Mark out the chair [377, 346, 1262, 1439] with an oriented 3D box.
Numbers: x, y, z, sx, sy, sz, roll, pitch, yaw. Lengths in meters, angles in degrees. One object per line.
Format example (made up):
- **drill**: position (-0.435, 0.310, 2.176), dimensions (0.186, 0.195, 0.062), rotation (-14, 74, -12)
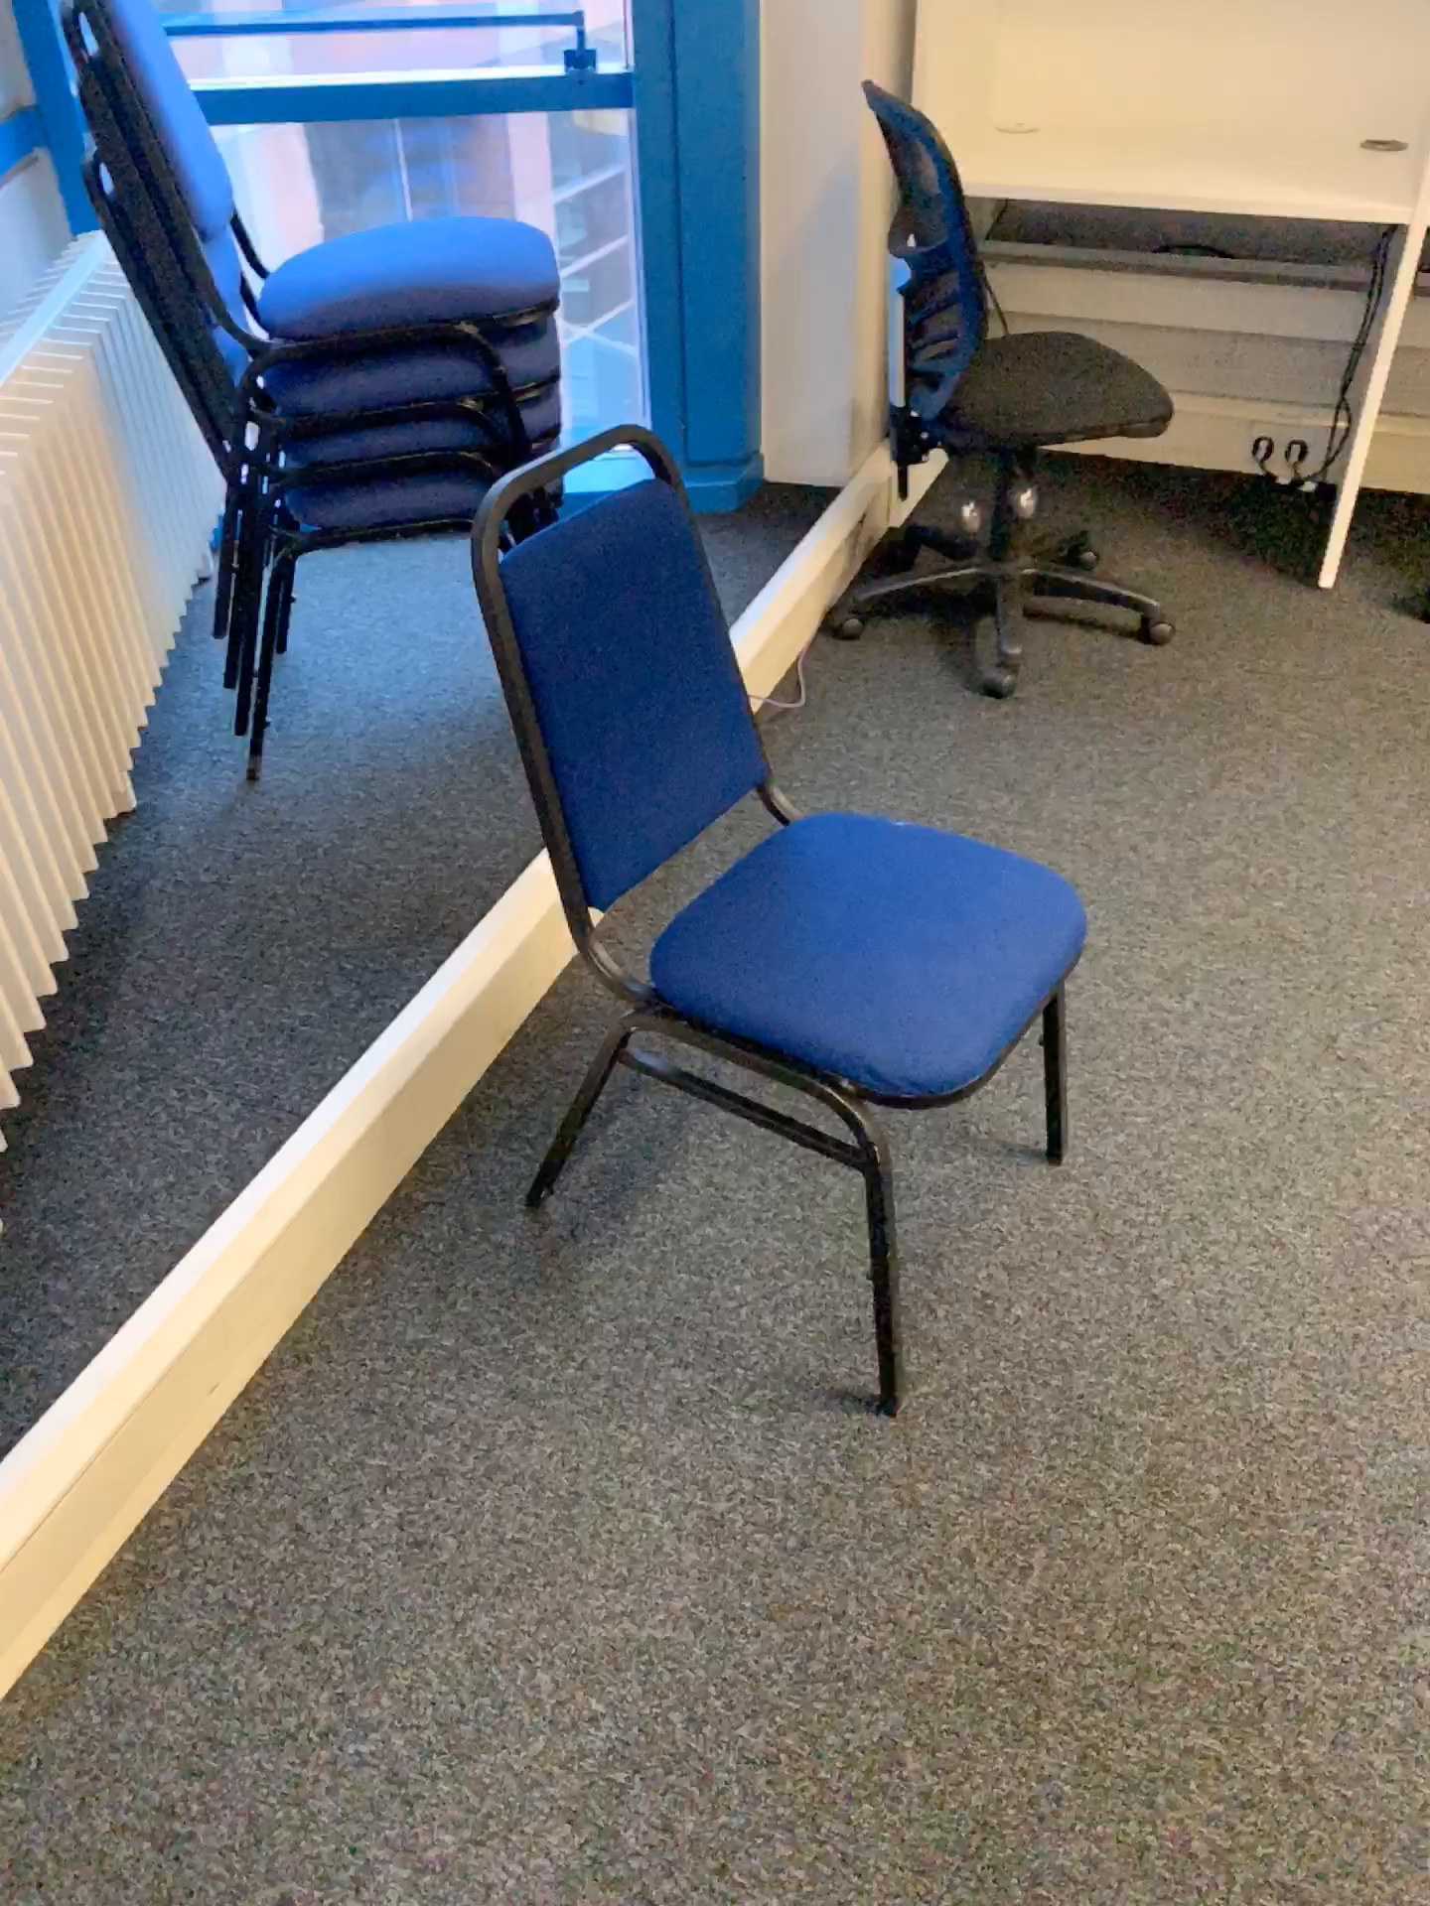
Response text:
- **chair**: position (0.103, -0.070, 1.471), dimensions (0.576, 0.843, 0.475), rotation (22, 44, 27)
